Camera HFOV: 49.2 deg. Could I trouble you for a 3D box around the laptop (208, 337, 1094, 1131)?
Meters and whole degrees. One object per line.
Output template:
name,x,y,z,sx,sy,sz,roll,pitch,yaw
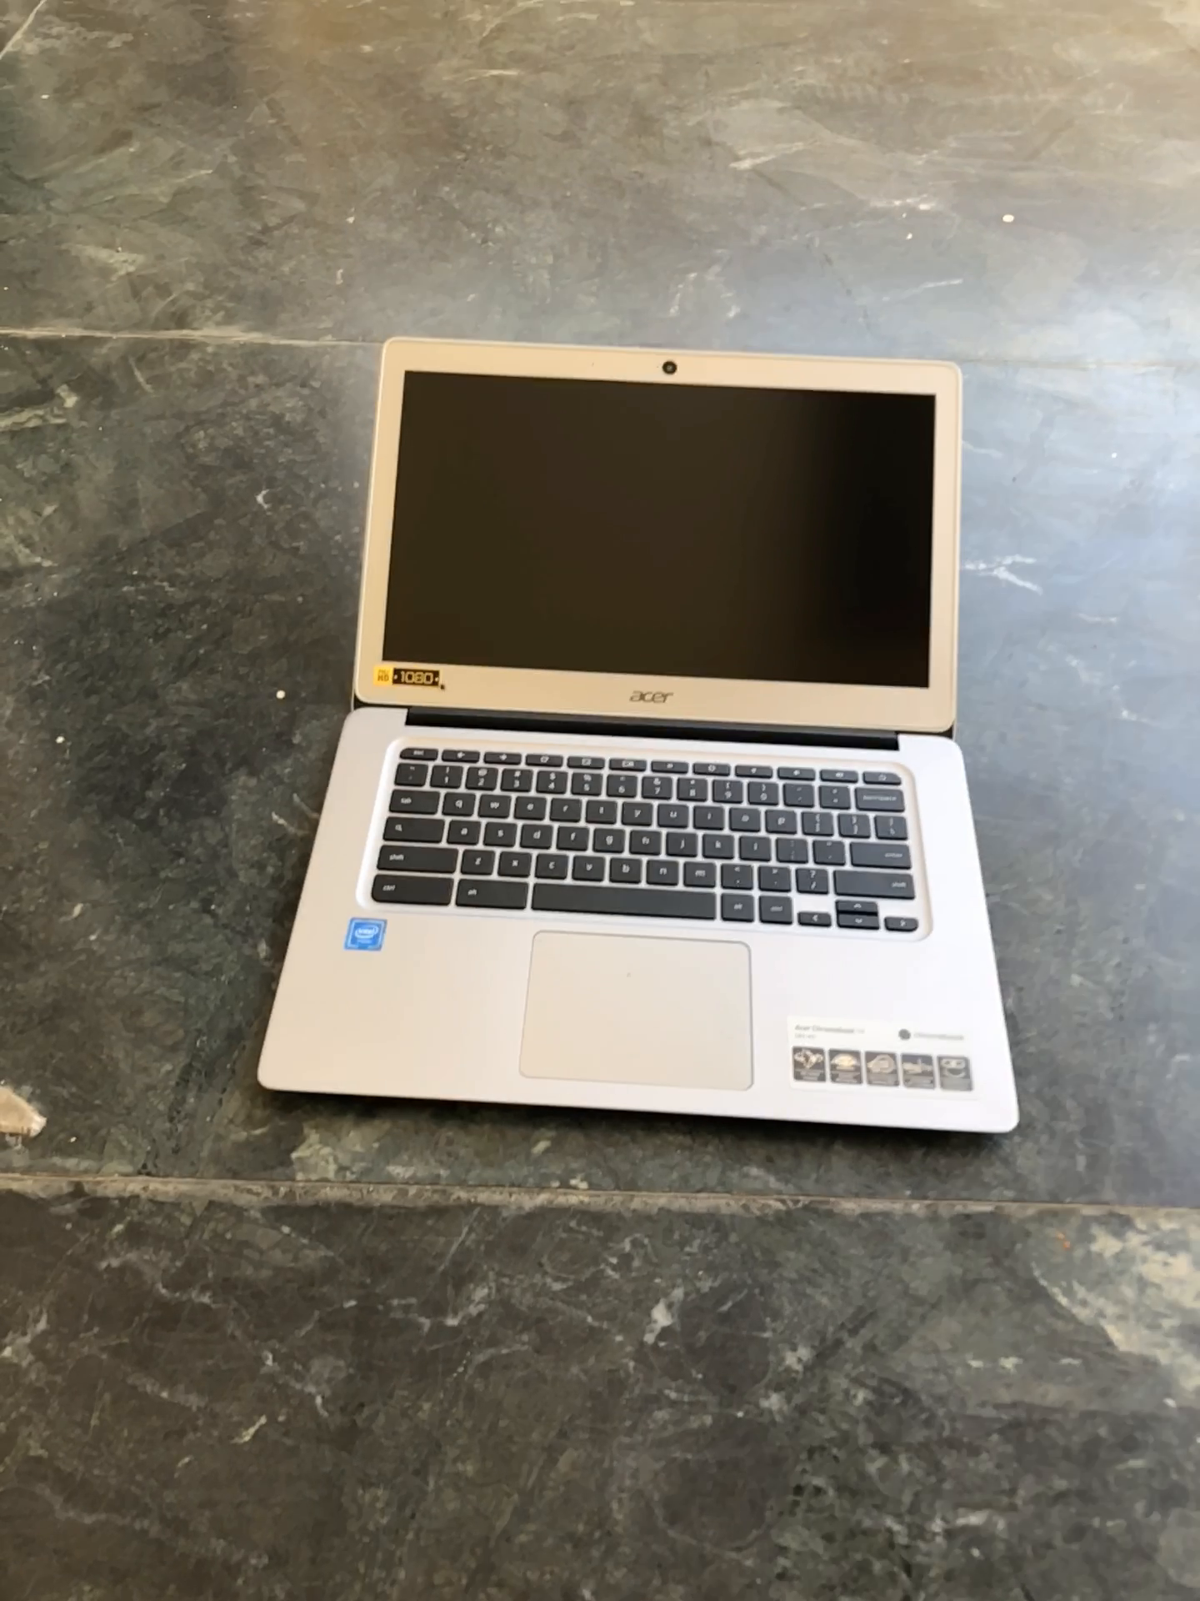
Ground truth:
laptop,0.029,-0.063,0.680,0.338,0.117,0.426,3,50,1
